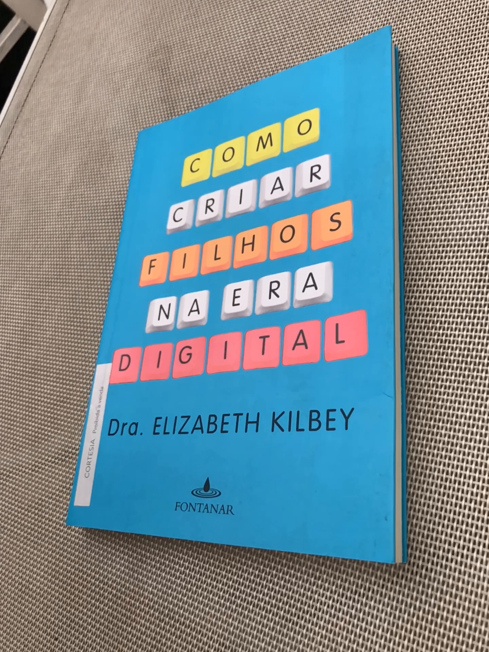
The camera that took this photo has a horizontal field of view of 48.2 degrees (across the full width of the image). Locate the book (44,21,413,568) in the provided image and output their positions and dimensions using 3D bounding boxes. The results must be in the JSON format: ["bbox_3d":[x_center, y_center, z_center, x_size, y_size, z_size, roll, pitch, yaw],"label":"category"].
[{"bbox_3d":[-0.009,-0.019,0.258,0.163,0.020,0.229,-8,65,31],"label":"book"}]
